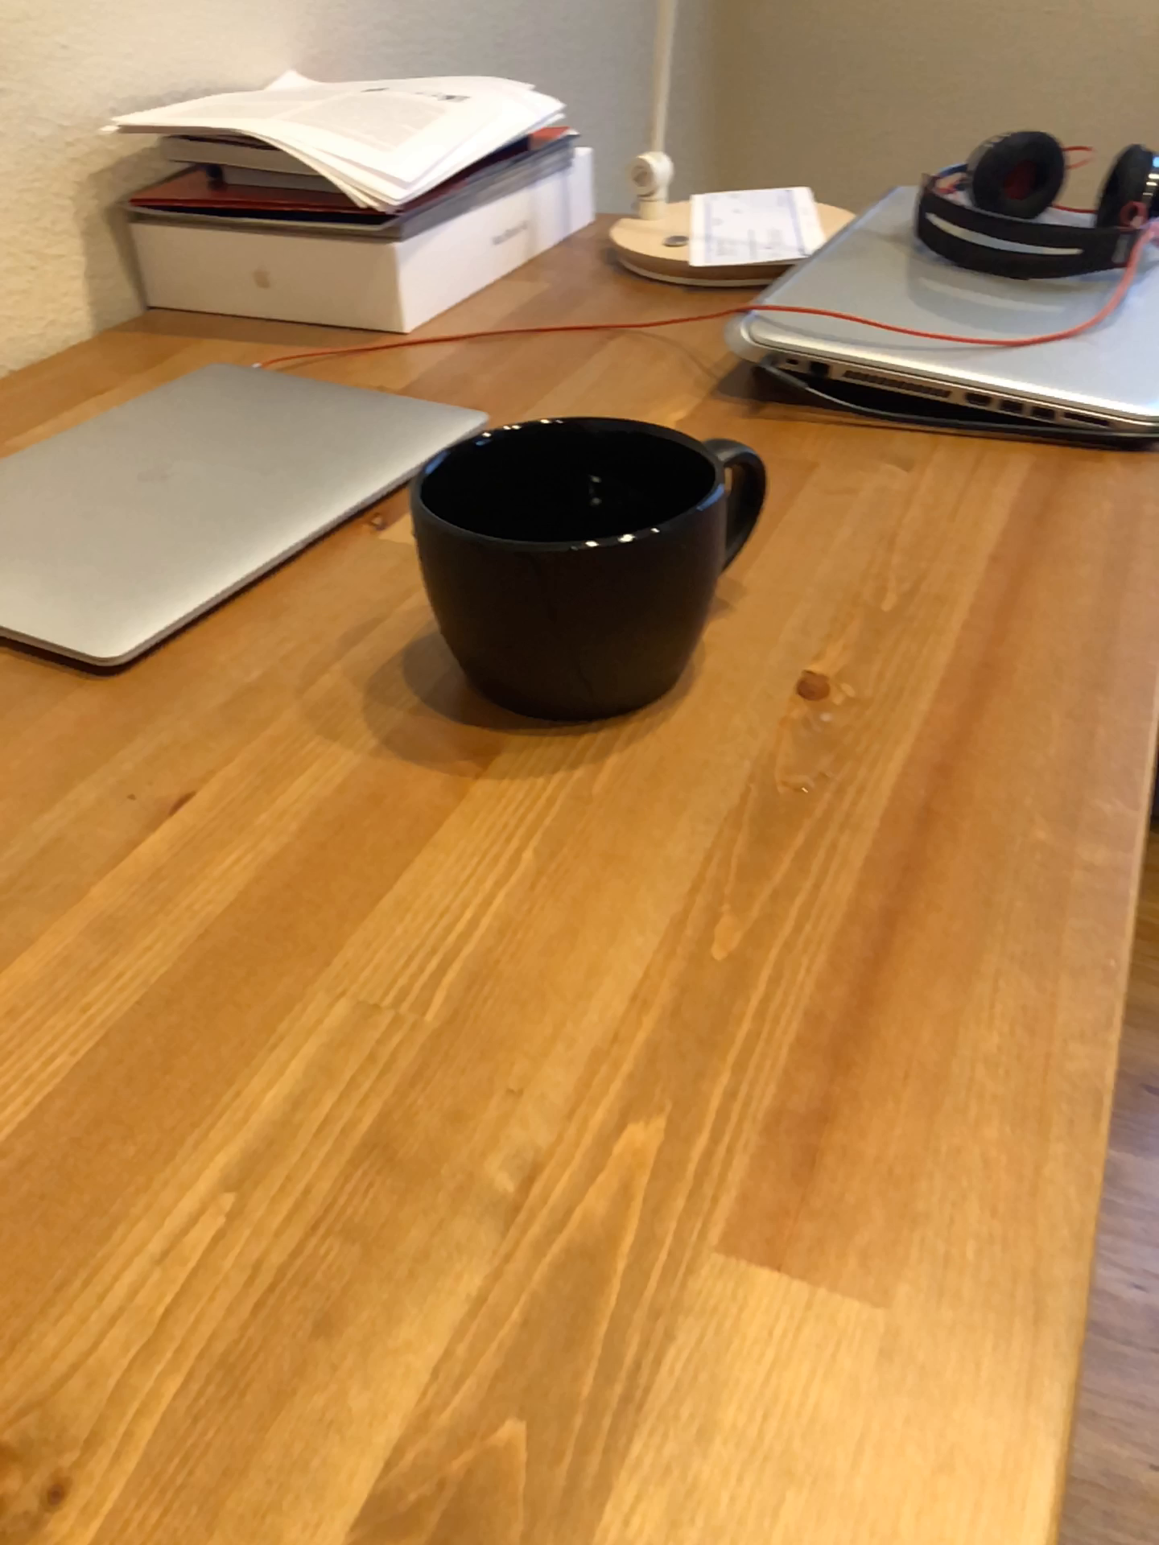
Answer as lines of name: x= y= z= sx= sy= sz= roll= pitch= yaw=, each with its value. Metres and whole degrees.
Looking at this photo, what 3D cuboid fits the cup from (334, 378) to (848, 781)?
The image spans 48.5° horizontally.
cup: x=0.006 y=-0.087 z=0.524 sx=0.160 sy=0.080 sz=0.120 roll=-26 pitch=42 yaw=-28
